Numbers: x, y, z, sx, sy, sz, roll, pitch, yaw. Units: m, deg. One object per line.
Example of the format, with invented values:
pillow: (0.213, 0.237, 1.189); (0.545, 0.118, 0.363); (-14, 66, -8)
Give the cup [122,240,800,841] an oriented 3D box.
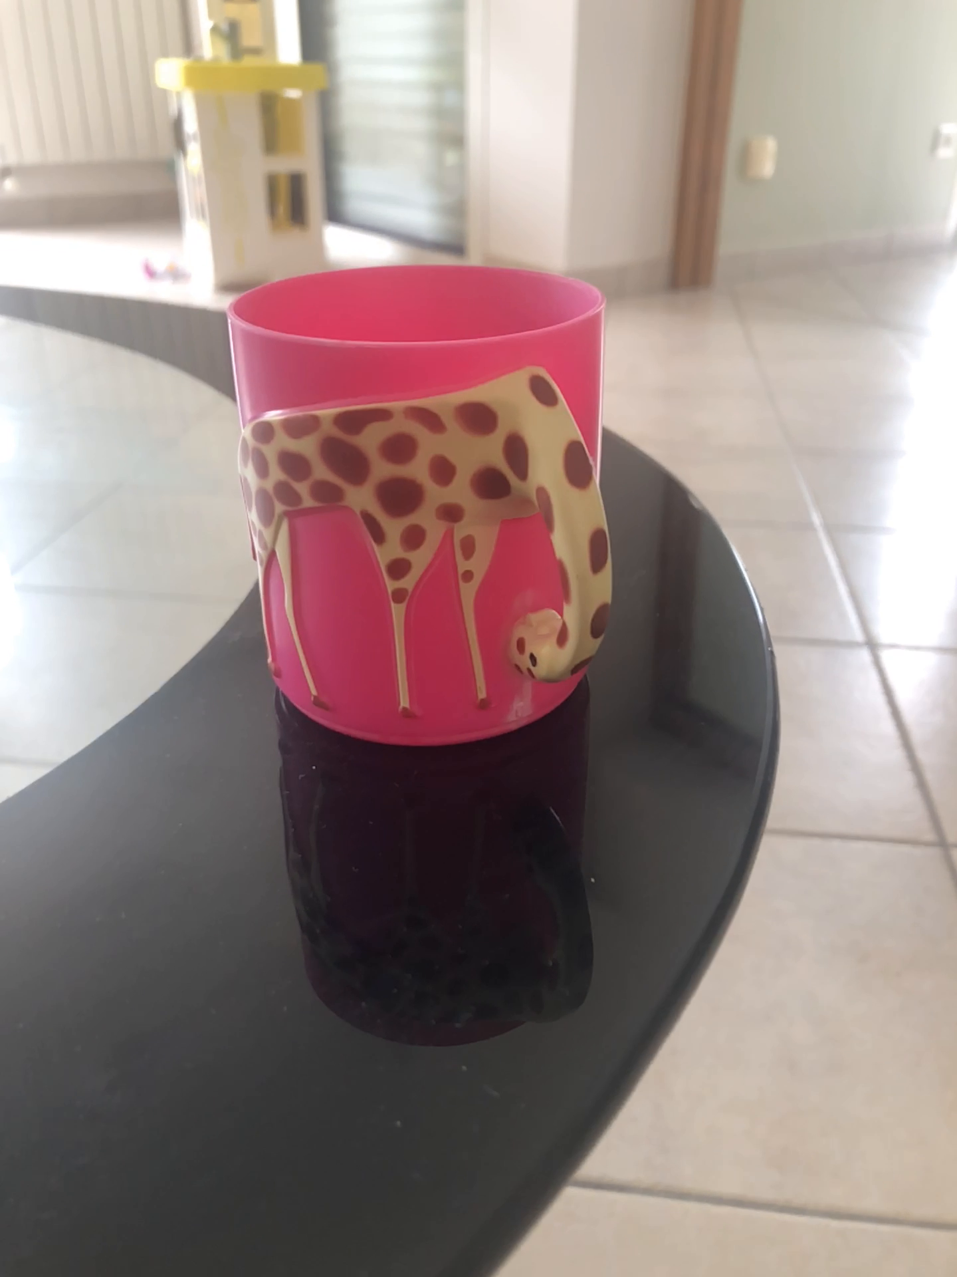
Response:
cup: (-0.005, -0.027, 0.194); (0.070, 0.070, 0.090); (-25, 37, -39)
